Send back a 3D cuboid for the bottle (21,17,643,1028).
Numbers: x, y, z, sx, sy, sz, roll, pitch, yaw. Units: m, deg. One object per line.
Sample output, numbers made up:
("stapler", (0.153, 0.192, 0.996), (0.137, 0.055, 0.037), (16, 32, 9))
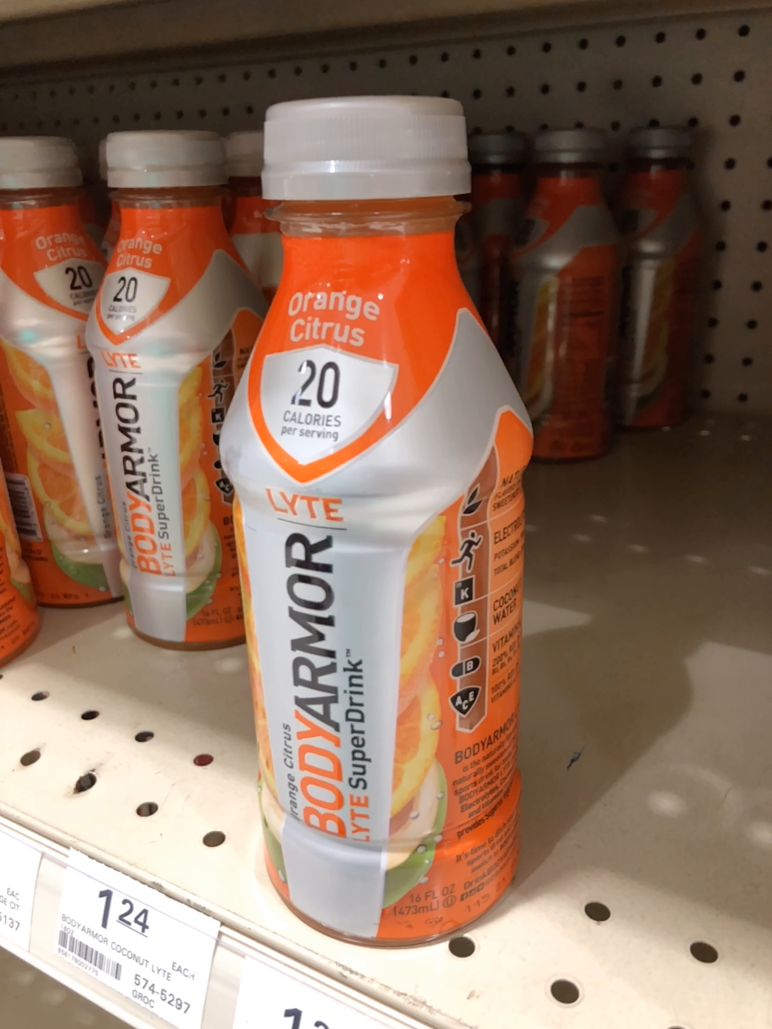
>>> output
("bottle", (-0.001, 0.003, 0.188), (0.080, 0.180, 0.080), (-2, 23, 1))
